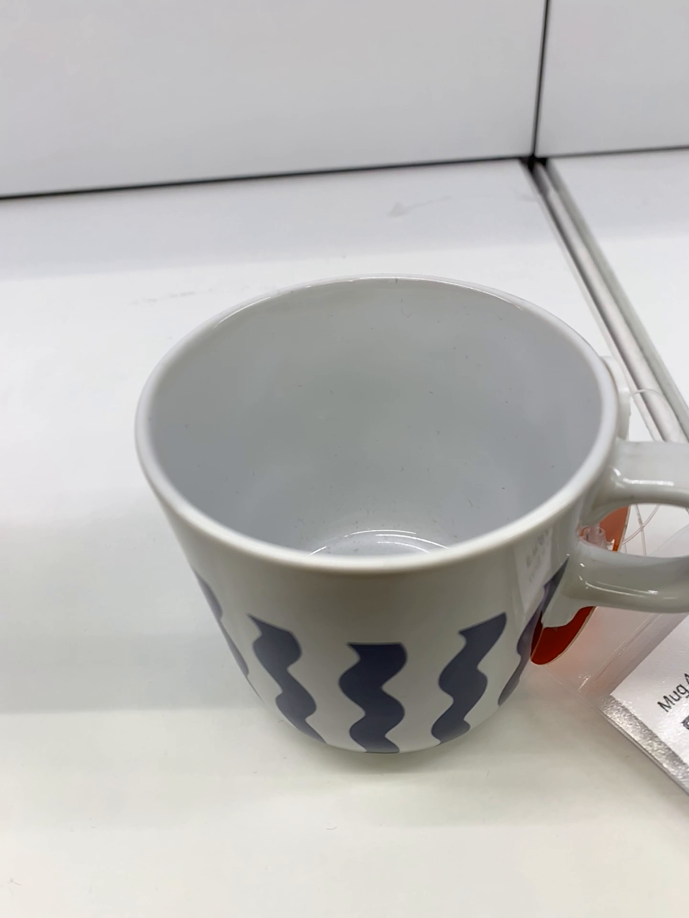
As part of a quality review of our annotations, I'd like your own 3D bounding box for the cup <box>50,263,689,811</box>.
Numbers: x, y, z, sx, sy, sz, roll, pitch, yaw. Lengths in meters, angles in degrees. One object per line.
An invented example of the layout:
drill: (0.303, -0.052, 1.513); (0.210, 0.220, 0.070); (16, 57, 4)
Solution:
cup: (0.015, 0.015, 0.145); (0.101, 0.071, 0.076); (-3, 41, 3)
